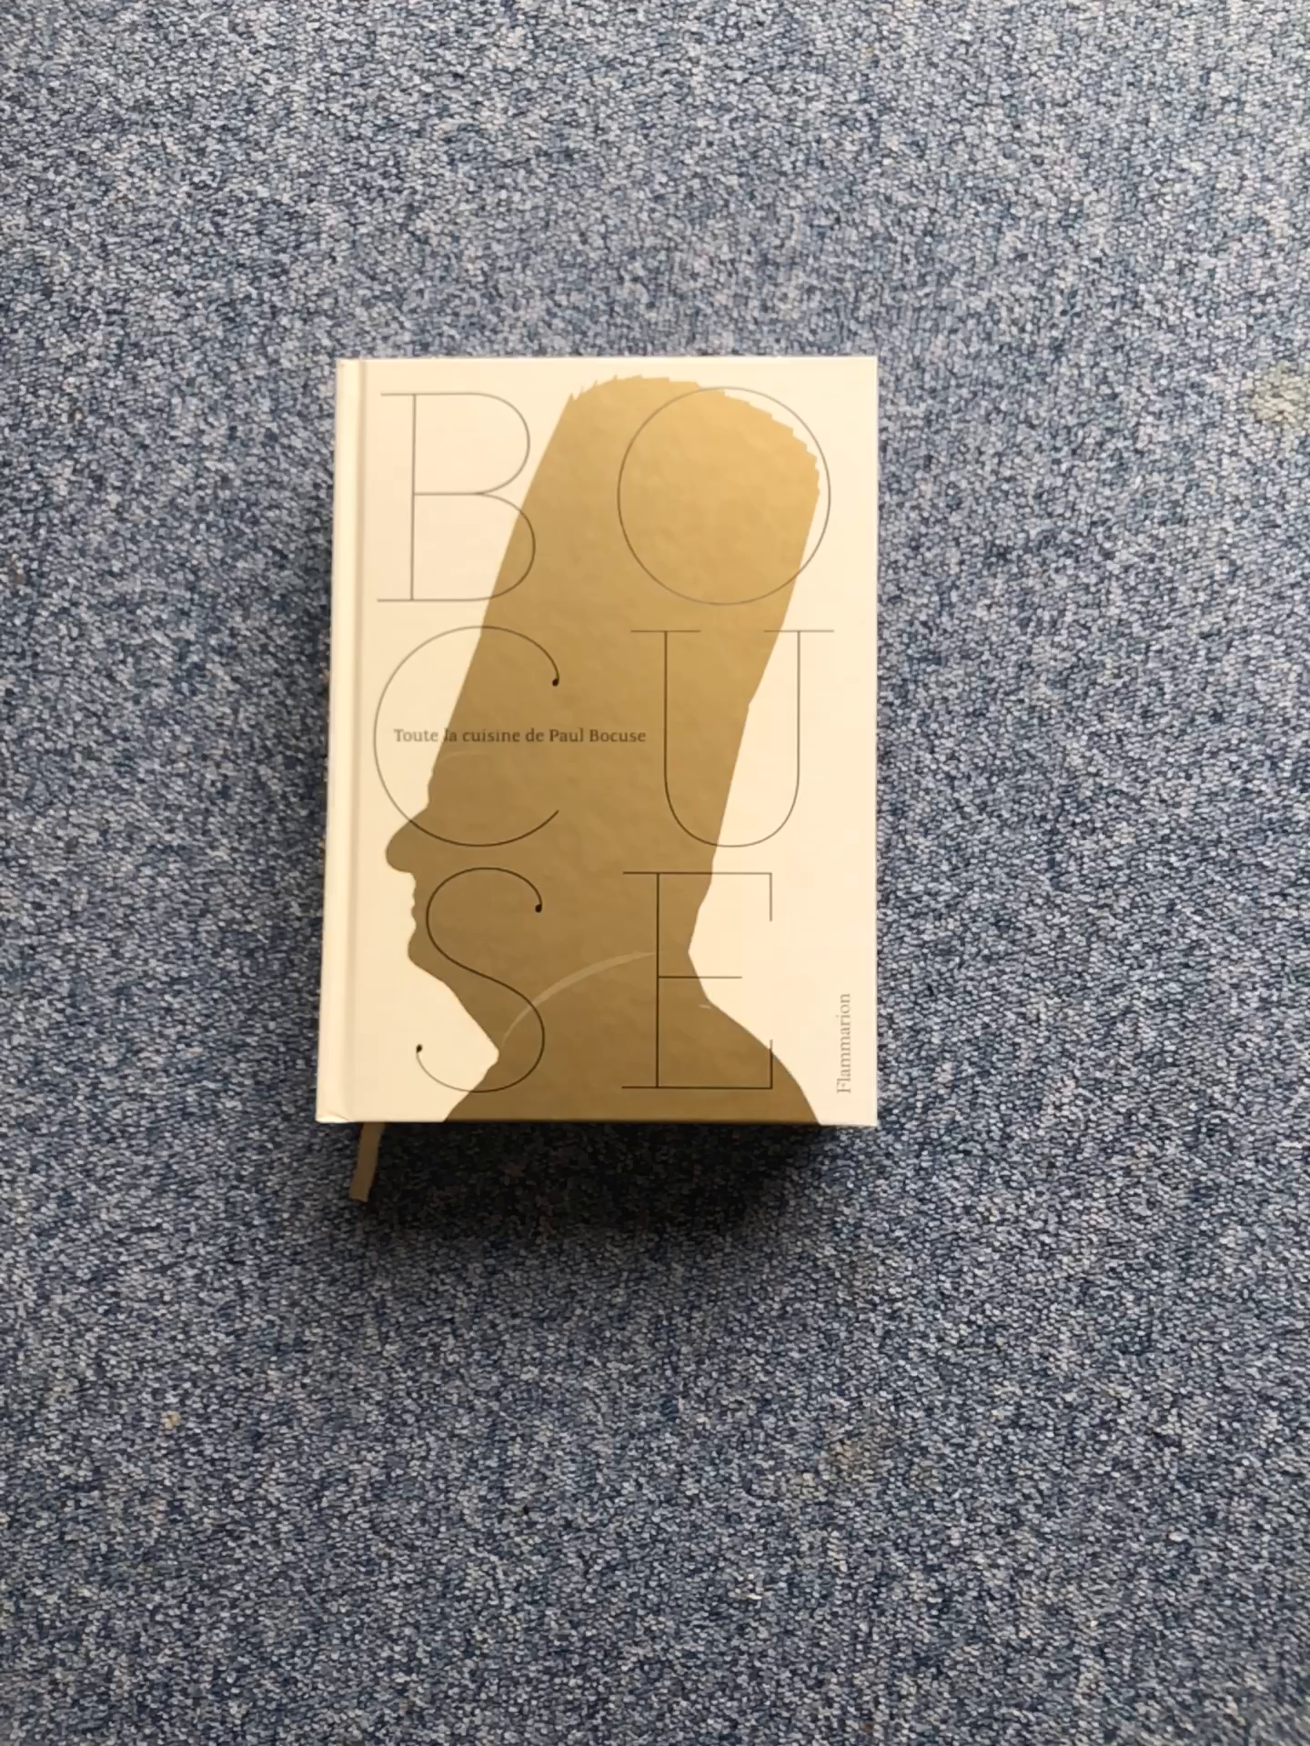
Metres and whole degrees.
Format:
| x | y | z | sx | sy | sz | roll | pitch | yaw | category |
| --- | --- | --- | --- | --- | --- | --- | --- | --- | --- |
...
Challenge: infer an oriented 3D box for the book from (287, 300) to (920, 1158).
| x | y | z | sx | sy | sz | roll | pitch | yaw | category |
| --- | --- | --- | --- | --- | --- | --- | --- | --- | --- |
| -0.014 | -0.048 | 0.512 | 0.200 | 0.080 | 0.280 | 1 | 85 | 1 | book |
